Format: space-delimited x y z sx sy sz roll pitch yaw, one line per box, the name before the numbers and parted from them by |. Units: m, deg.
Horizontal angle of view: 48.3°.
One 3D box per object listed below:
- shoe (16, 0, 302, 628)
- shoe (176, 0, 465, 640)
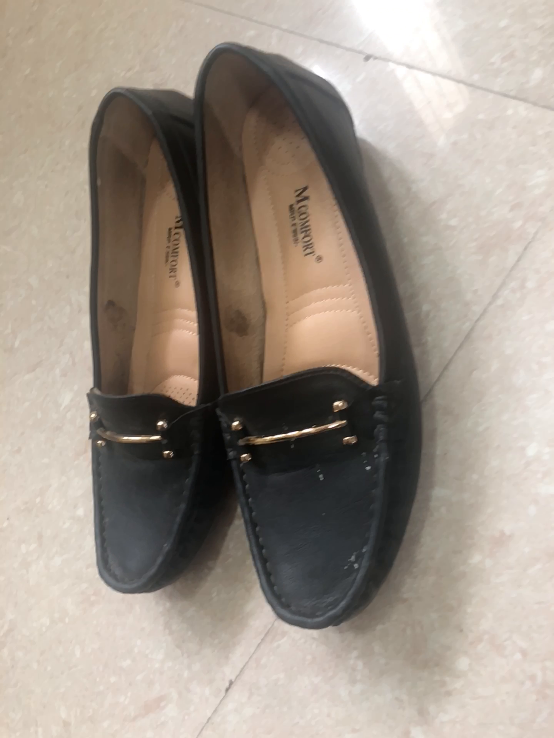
shoe | -0.058 -0.032 0.349 0.100 0.080 0.310 -4 76 32
shoe | 0.016 -0.041 0.309 0.100 0.080 0.310 -11 72 30
